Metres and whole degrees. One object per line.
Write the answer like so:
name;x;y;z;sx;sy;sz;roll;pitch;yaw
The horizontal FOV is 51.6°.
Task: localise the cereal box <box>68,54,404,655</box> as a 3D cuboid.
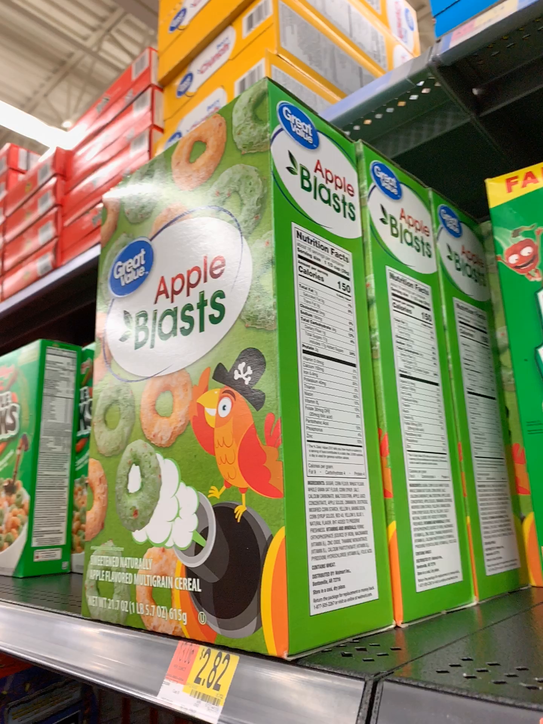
cereal box;-0.035;0.000;0.398;0.200;0.331;0.100;-15;-20;40
